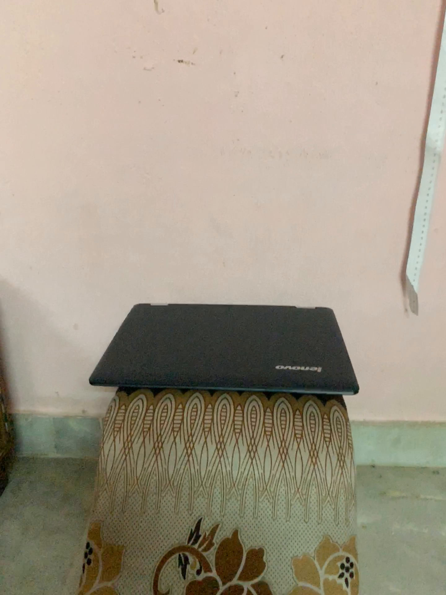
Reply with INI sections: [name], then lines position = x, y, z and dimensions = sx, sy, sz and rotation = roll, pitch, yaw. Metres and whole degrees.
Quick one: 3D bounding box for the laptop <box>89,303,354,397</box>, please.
[laptop]
position = 0.005, 0.063, 0.633
dimensions = 0.312, 0.012, 0.214
rotation = 1, 25, 4
